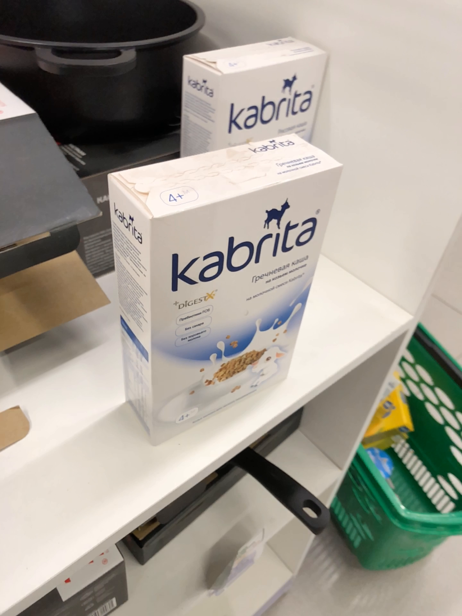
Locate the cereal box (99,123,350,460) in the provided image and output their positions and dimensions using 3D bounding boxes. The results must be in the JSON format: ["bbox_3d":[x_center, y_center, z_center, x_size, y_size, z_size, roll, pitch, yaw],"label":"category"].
[{"bbox_3d":[-0.010,-0.003,0.364,0.140,0.219,0.050,-23,51,-29],"label":"cereal box"}]
